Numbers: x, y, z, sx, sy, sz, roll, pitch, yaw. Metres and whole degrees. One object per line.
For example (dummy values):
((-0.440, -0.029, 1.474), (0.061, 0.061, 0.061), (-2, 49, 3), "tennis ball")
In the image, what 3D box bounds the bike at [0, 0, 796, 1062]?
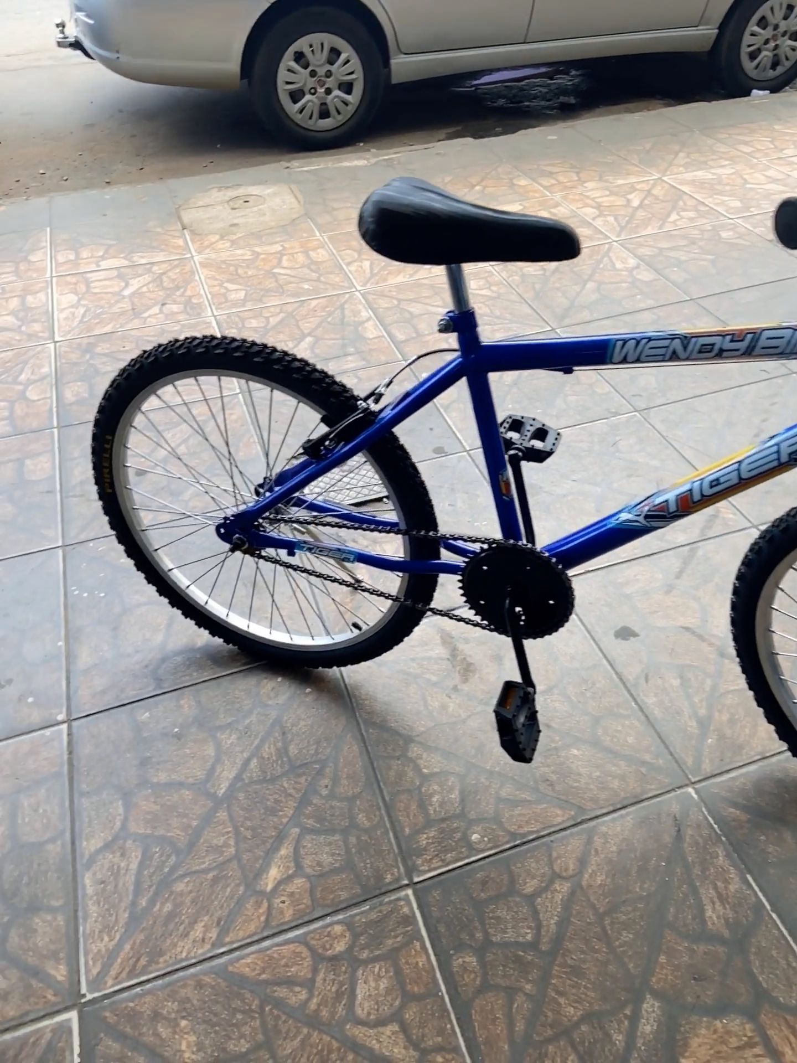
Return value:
((0.190, -0.052, 0.949), (1.487, 0.923, 0.626), (14, 47, 21), "bike")
